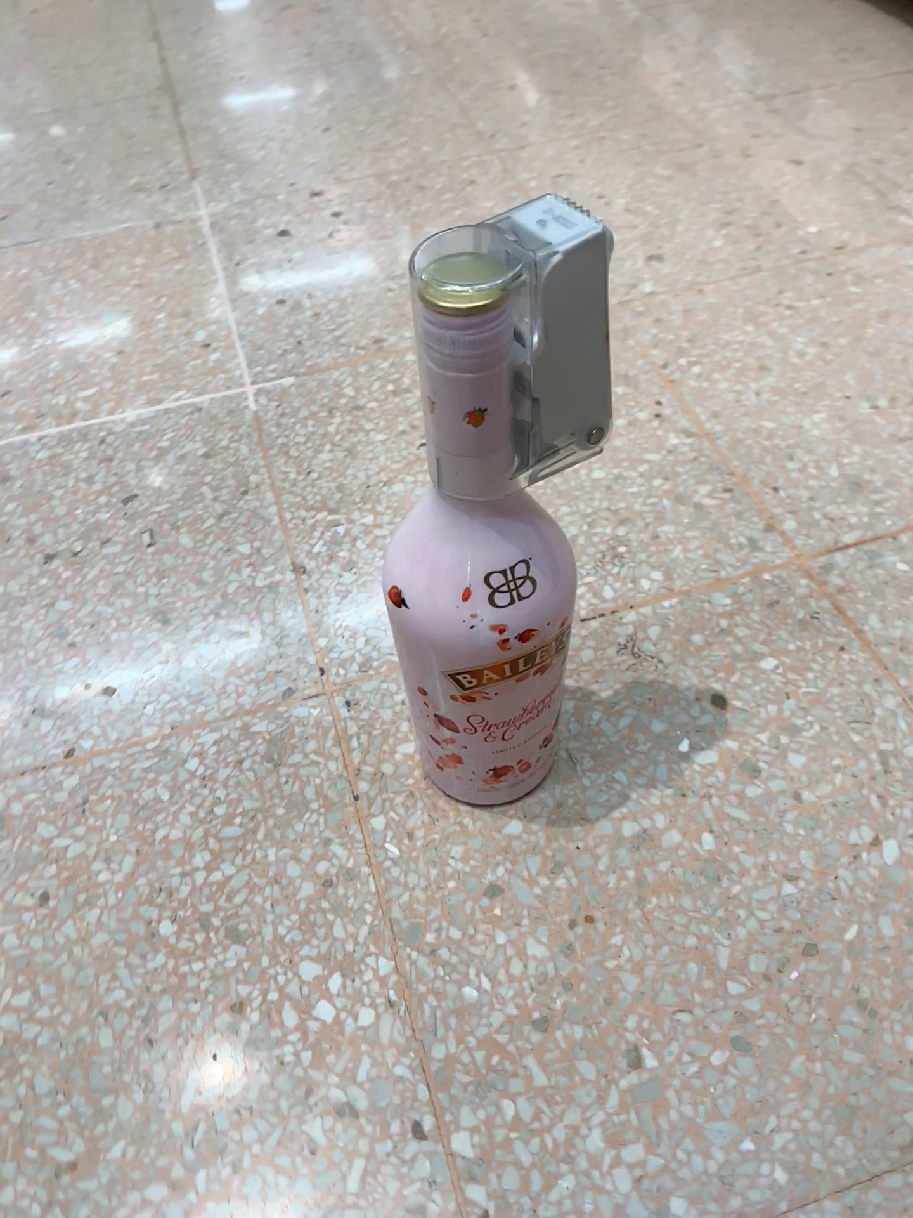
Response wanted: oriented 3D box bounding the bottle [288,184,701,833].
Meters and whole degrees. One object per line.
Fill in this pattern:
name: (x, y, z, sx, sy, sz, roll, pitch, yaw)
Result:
bottle: (0.016, -0.019, 0.380, 0.103, 0.254, 0.073, -21, 52, -13)
